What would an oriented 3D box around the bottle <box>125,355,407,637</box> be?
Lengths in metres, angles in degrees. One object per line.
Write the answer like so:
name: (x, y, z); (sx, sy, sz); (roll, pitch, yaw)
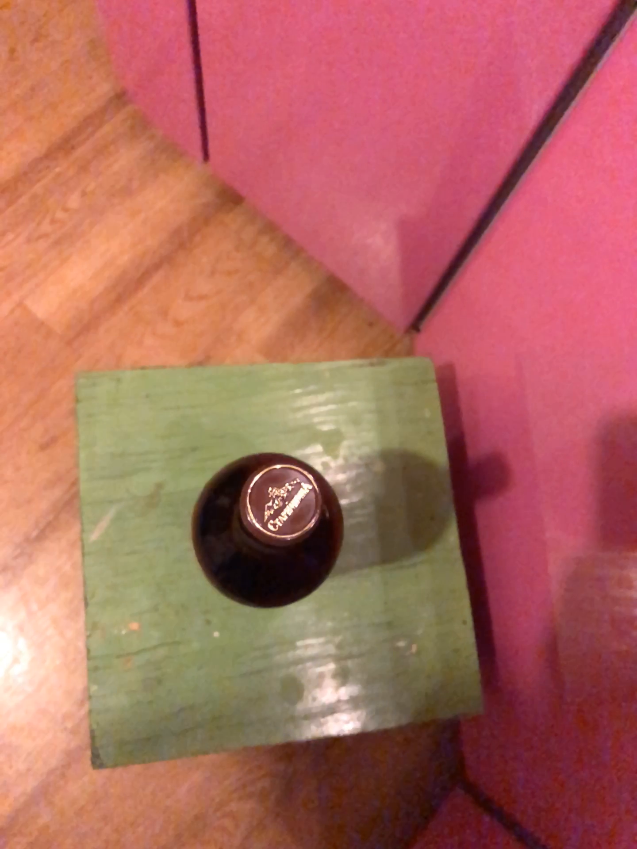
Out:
bottle: (-0.031, 0.054, 0.385); (0.071, 0.302, 0.071); (1, 78, -6)
